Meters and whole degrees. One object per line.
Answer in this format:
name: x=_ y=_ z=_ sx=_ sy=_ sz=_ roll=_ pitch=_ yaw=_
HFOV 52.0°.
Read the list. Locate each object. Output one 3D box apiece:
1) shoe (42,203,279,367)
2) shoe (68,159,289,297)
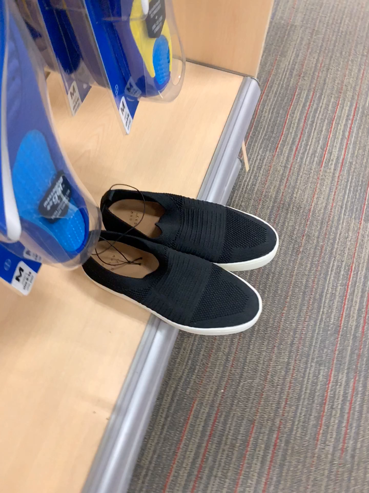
shoe: x=-0.030 y=0.053 z=0.504 sx=0.270 sy=0.100 sz=0.100 roll=21 pitch=69 yaw=9
shoe: x=-0.007 y=-0.023 z=0.538 sx=0.270 sy=0.100 sz=0.100 roll=15 pitch=68 yaw=6
